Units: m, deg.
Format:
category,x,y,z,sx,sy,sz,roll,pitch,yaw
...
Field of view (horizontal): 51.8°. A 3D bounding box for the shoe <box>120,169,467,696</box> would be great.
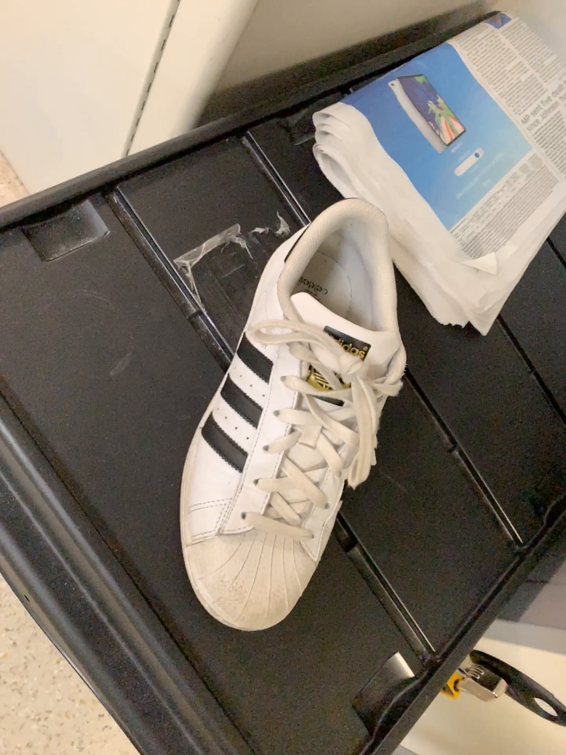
category,x,y,z,sx,sy,sz,roll,pitch,yaw
shoe,0.008,0.026,0.334,0.103,0.092,0.243,24,74,-18
